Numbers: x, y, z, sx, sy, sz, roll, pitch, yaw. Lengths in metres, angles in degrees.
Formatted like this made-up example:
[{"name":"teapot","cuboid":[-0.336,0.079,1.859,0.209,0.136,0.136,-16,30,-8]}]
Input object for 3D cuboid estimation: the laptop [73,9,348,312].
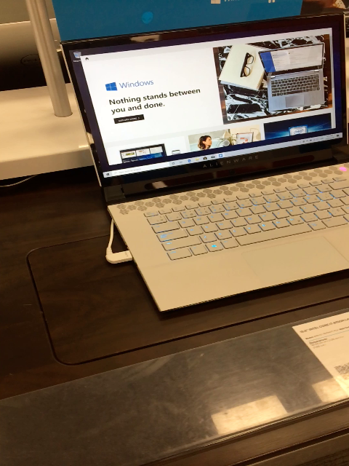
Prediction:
[{"name":"laptop","cuboid":[0.119,-0.110,0.582,0.392,0.213,0.303,-14,45,-10]}]
